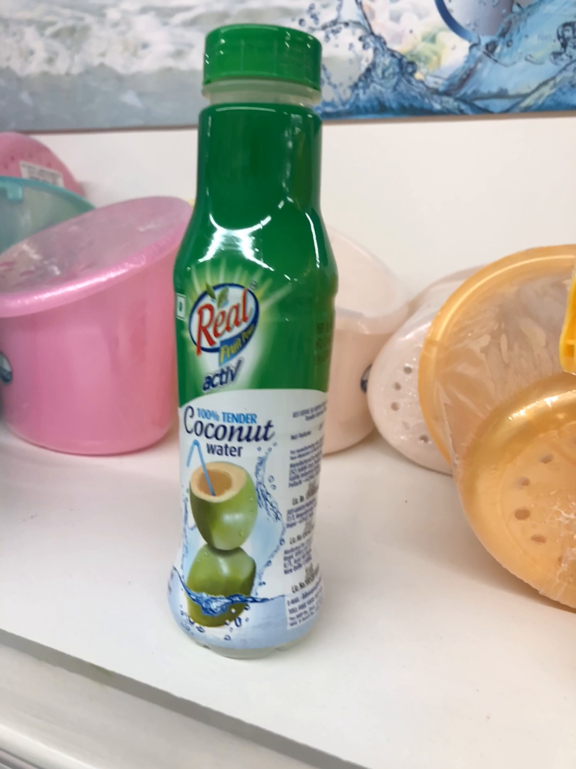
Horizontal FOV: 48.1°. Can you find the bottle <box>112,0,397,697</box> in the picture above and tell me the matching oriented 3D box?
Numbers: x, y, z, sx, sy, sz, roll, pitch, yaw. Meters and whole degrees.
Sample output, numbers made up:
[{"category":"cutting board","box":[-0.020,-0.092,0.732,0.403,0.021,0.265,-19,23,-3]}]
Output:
[{"category":"bottle","box":[-0.009,-0.008,0.199,0.060,0.179,0.060,2,14,-1]}]
